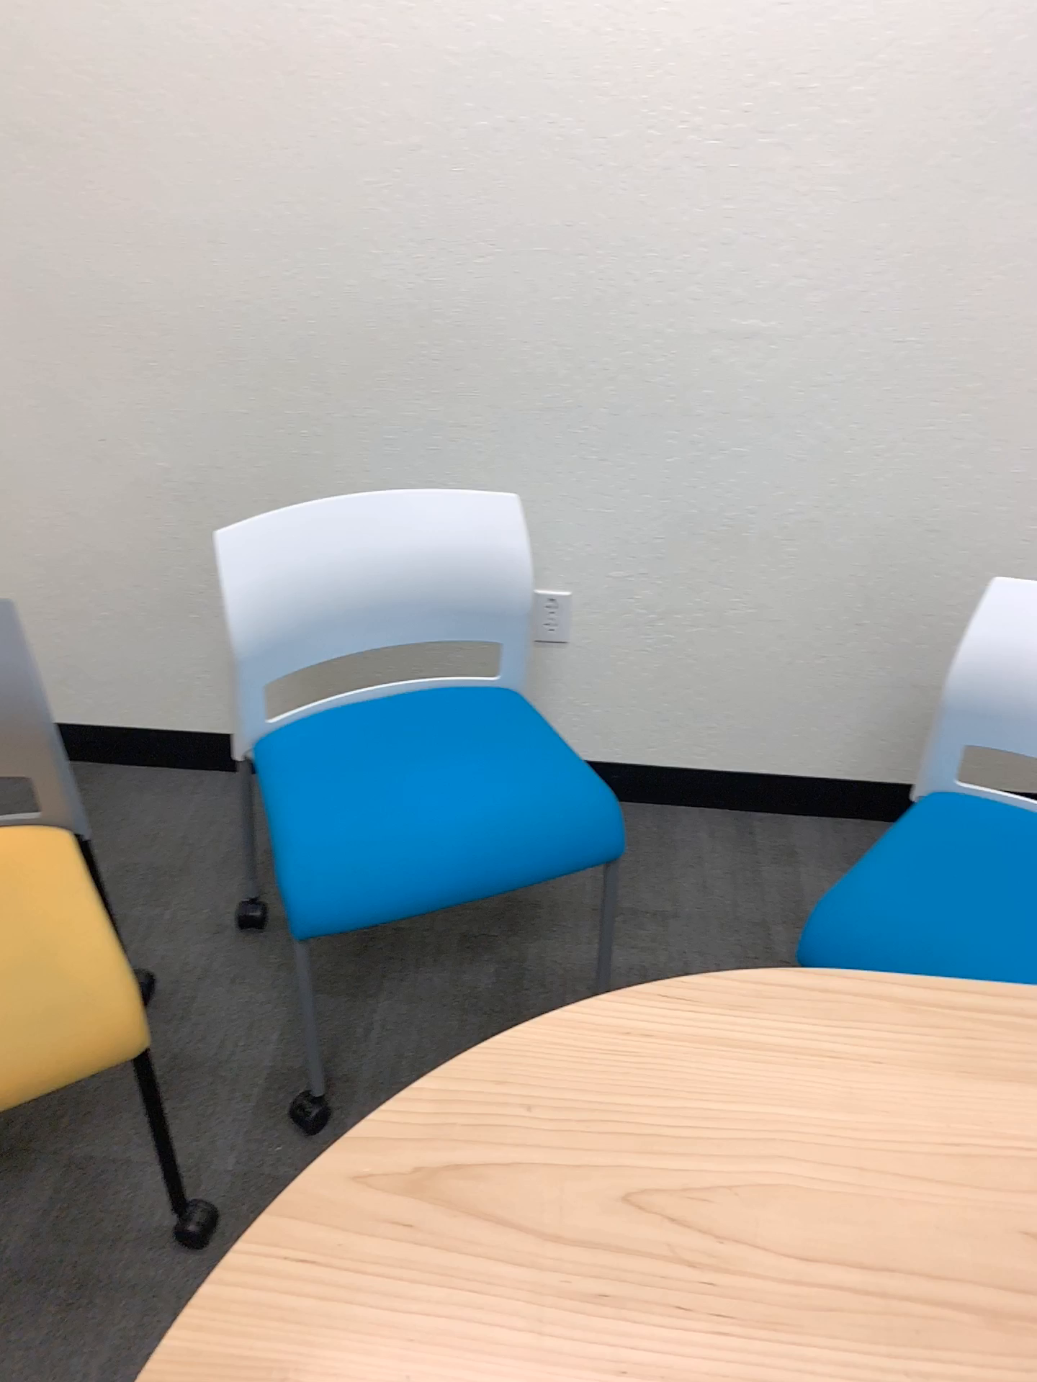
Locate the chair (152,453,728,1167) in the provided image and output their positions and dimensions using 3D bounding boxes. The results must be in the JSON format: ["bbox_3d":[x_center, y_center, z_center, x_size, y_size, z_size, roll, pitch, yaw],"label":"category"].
[{"bbox_3d":[-0.165,0.133,1.691,0.640,0.755,0.694,-10,34,-17],"label":"chair"}]

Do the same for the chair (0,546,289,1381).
[{"bbox_3d":[-0.738,0.338,1.324,0.640,0.716,0.694,-15,35,-24],"label":"chair"}]

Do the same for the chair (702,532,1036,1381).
[{"bbox_3d":[0.793,0.345,1.442,0.753,0.765,0.692,23,38,31],"label":"chair"}]
